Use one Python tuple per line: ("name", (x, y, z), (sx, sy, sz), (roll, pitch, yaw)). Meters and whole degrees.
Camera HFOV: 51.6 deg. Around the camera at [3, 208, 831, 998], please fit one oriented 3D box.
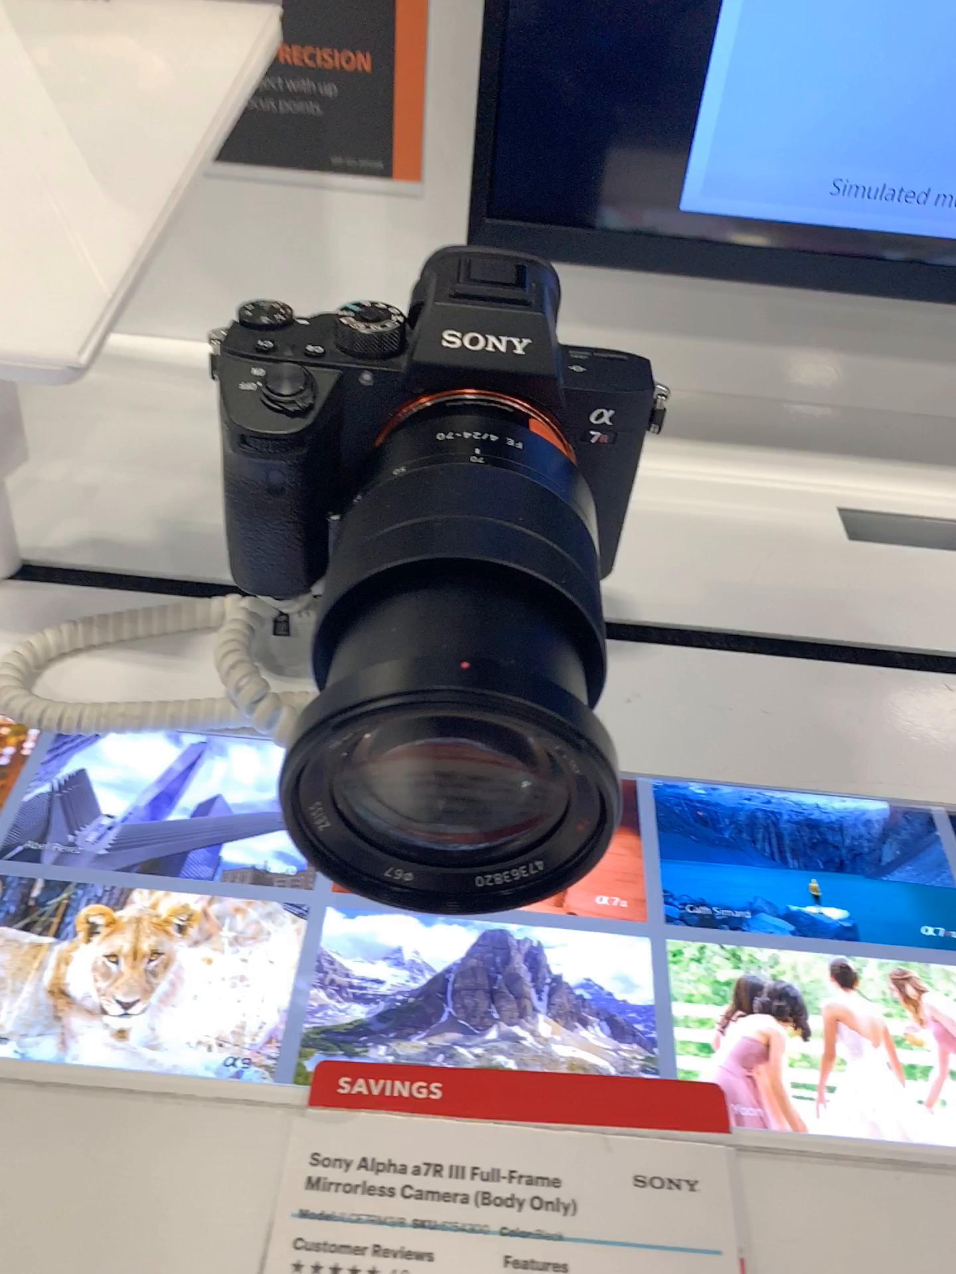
("camera", (-0.010, -0.024, 0.261), (0.130, 0.100, 0.194), (3, 42, -1))
